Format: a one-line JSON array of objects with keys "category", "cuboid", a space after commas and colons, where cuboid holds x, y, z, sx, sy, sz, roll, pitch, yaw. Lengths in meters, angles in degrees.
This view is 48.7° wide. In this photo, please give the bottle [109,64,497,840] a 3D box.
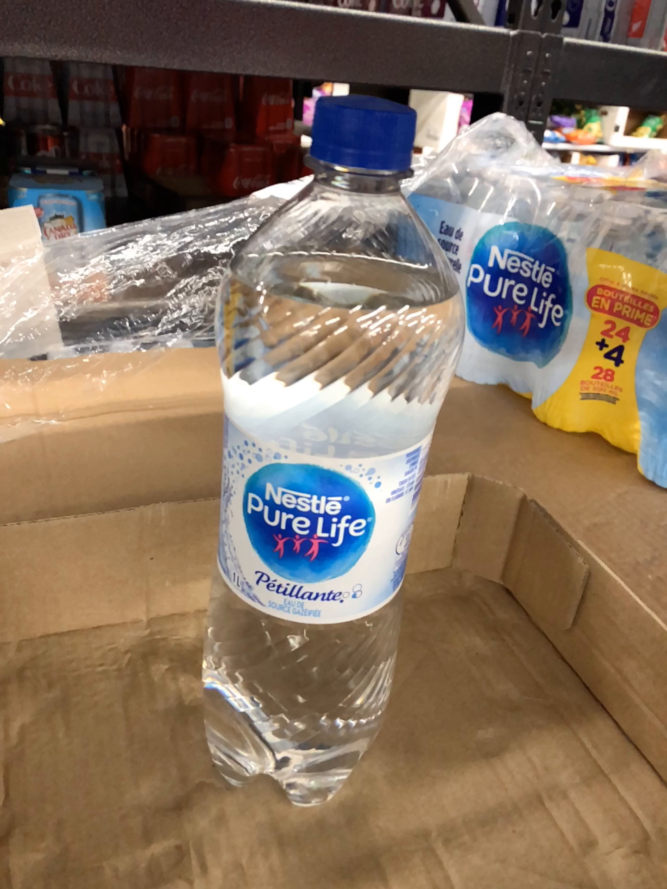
[{"category": "bottle", "cuboid": [-0.013, 0.010, 0.294, 0.100, 0.278, 0.101, 5, 27, -2]}]
